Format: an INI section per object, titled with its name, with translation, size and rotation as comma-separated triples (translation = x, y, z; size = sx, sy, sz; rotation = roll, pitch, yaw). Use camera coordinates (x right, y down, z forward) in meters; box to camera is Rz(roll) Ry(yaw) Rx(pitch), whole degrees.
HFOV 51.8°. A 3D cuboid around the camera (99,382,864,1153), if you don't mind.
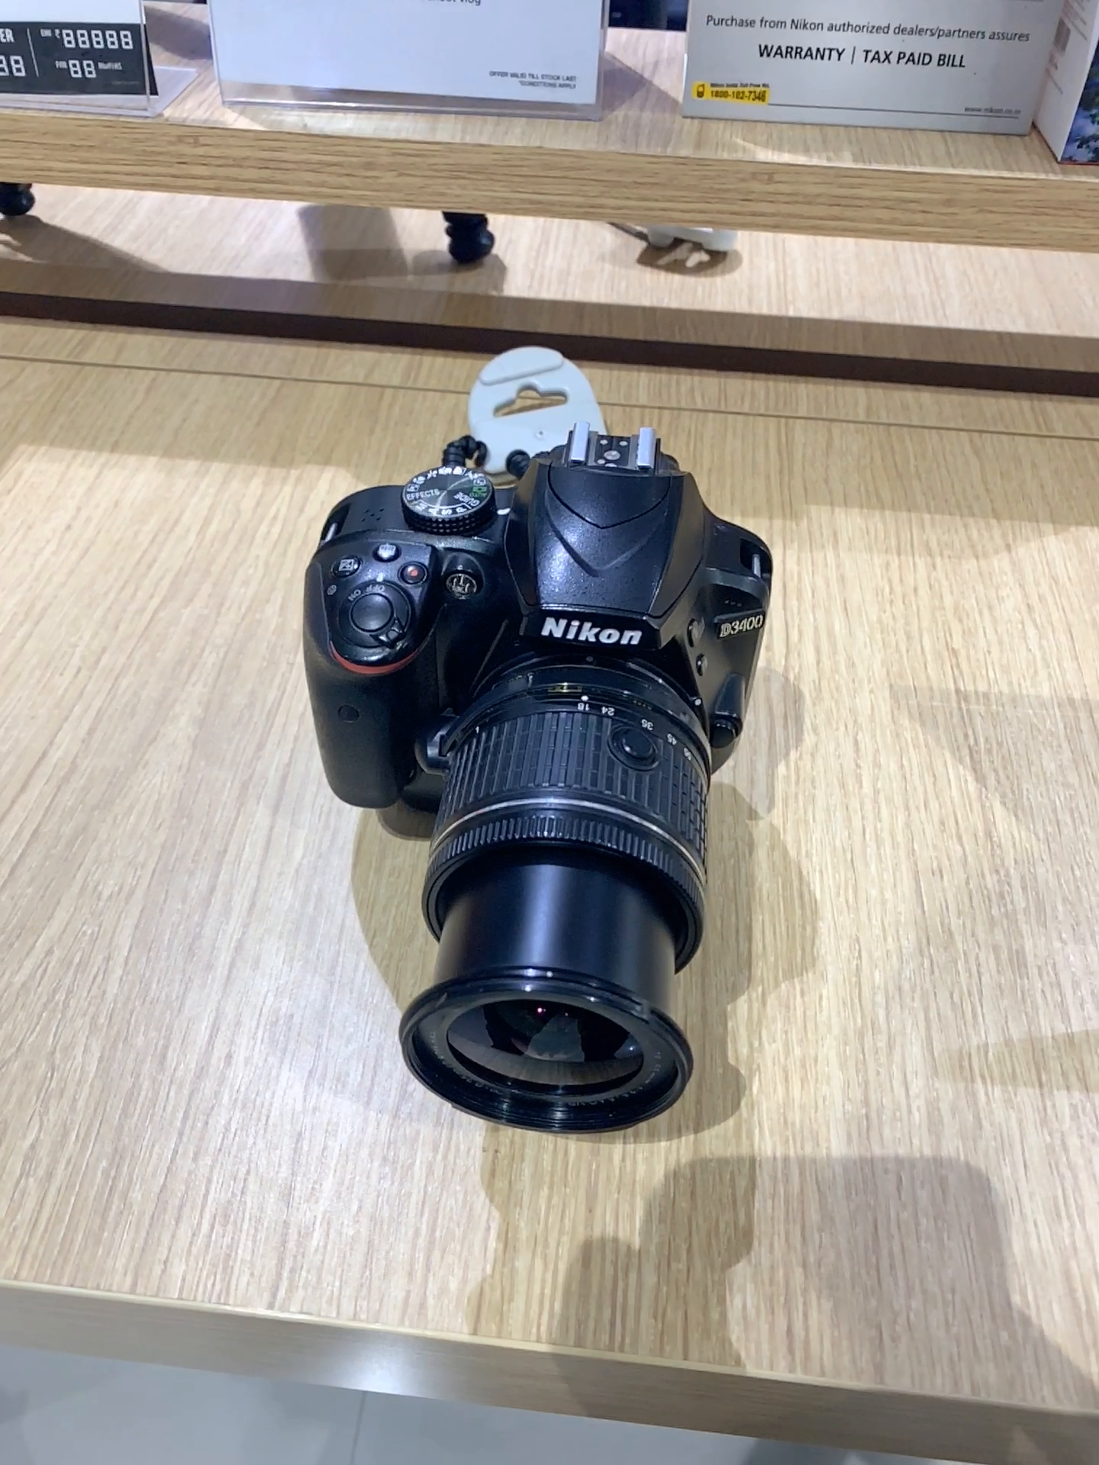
[camera]
translation = -0.006, 0.002, 0.259
size = 0.120, 0.094, 0.140
rotation = 4, 47, 3
